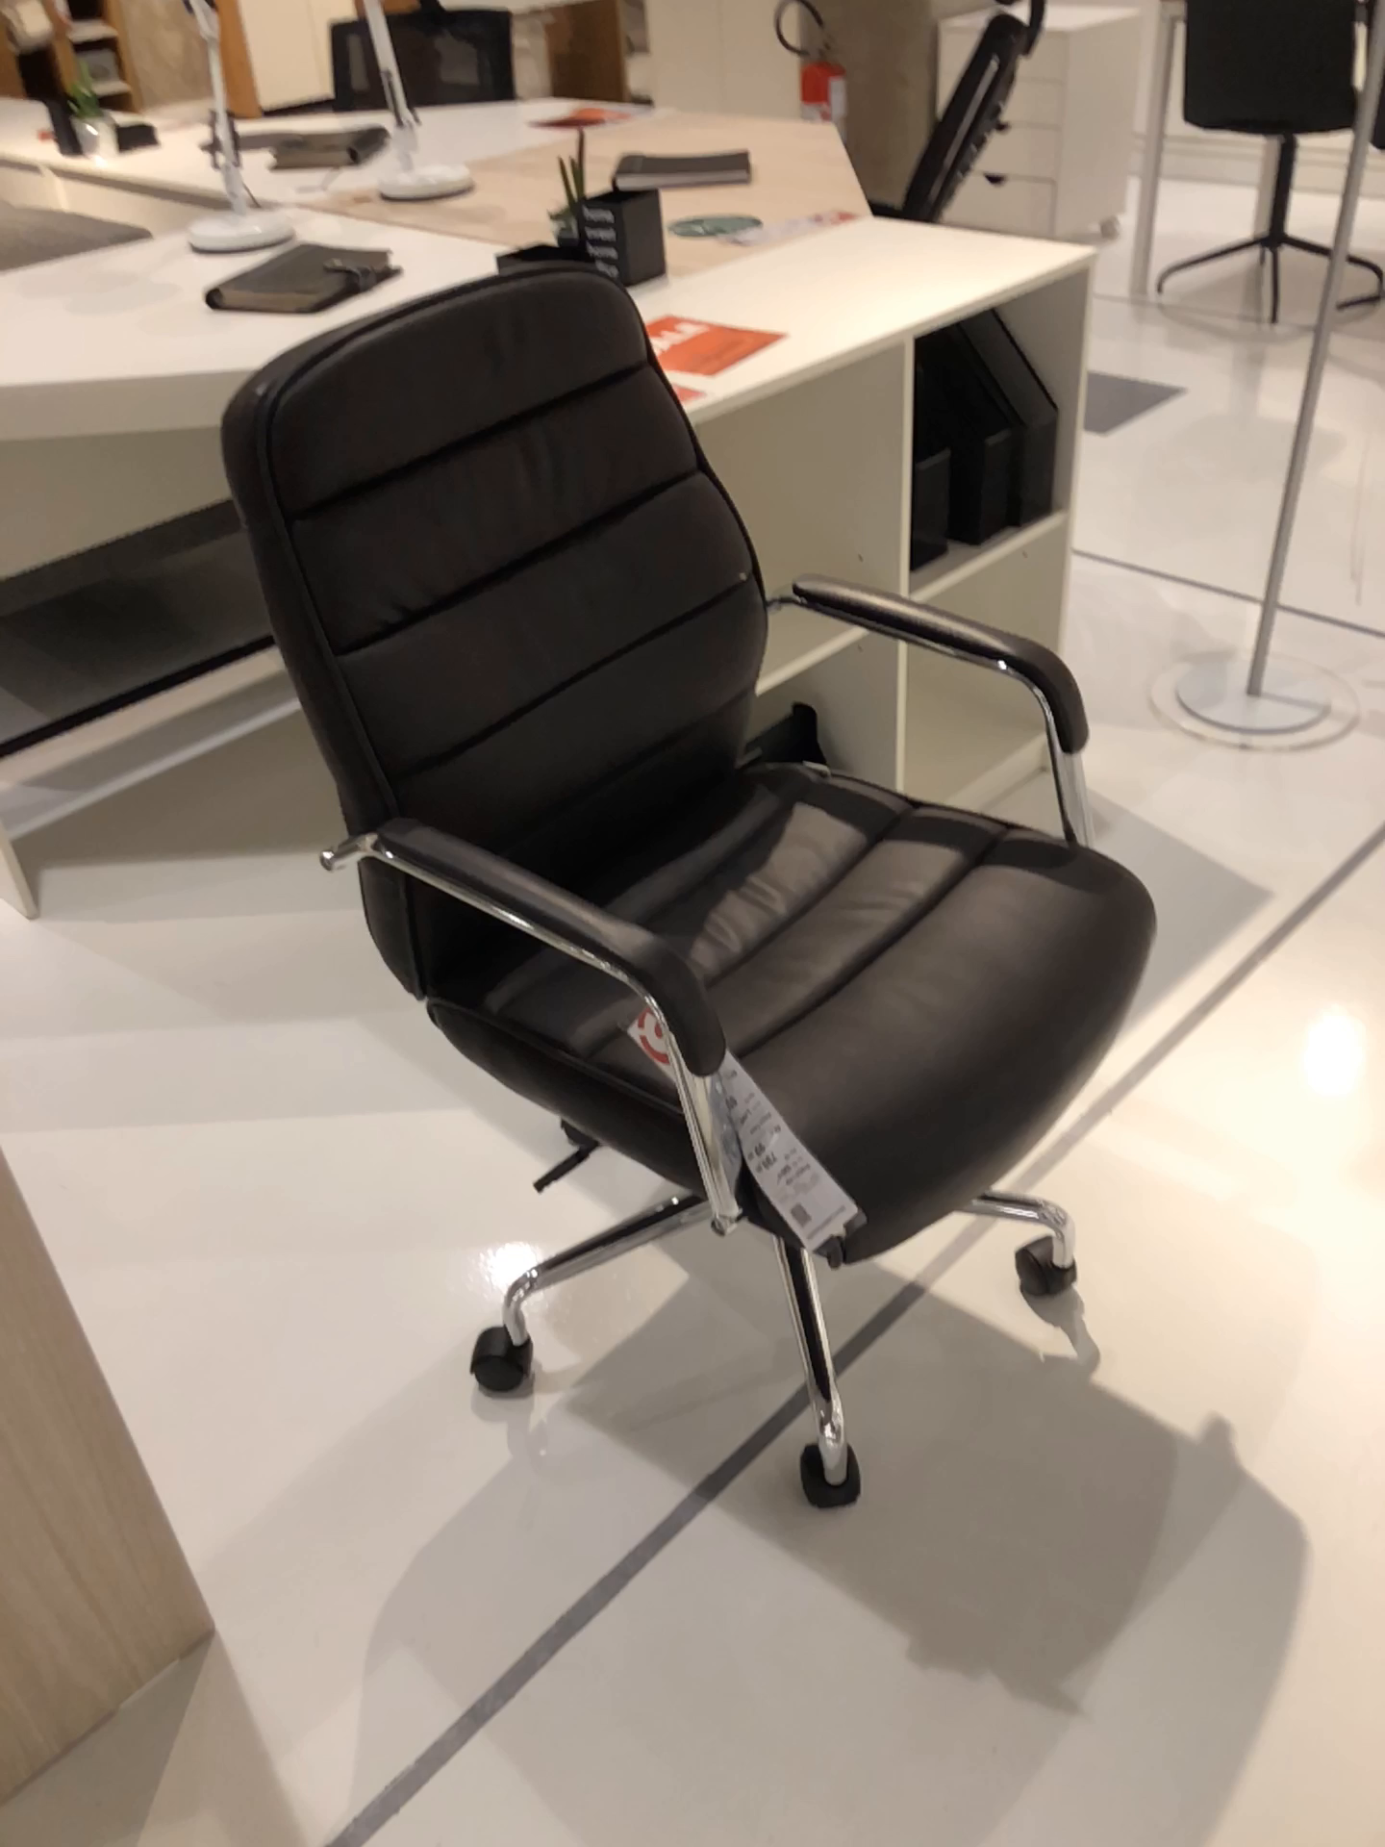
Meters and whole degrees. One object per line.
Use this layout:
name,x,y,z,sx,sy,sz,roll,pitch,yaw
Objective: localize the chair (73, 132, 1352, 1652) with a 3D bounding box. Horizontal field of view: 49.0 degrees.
chair,0.060,-0.062,1.295,0.572,0.973,0.653,24,45,34
